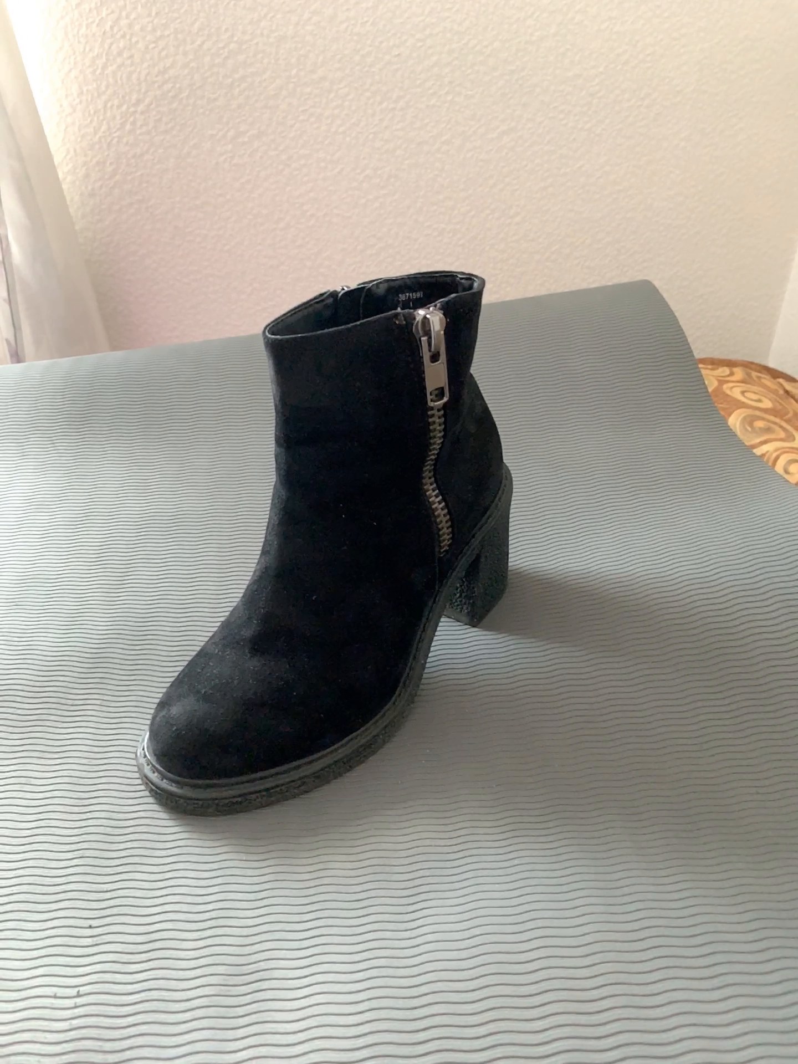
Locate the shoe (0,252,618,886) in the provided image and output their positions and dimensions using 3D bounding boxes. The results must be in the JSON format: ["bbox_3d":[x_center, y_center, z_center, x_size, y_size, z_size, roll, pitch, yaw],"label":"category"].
[{"bbox_3d":[-0.023,-0.003,0.371,0.099,0.179,0.241,29,43,36],"label":"shoe"}]
